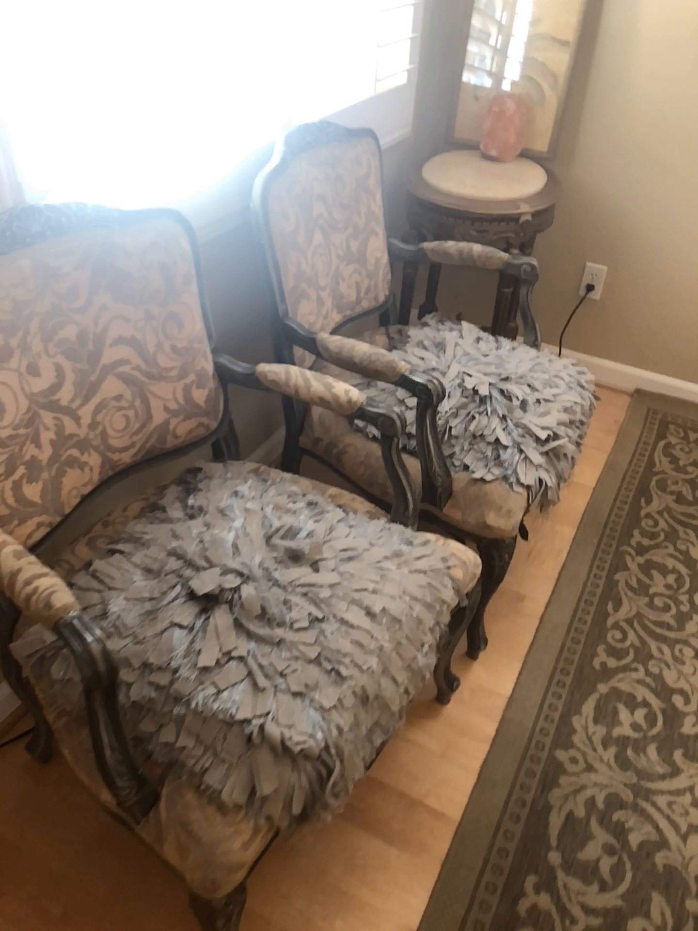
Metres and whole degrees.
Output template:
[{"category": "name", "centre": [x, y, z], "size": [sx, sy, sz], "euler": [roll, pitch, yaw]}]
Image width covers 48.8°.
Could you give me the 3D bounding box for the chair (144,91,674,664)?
[{"category": "chair", "centre": [0.141, -0.251, 1.715], "size": [0.780, 0.852, 0.747], "euler": [19, 39, 19]}]

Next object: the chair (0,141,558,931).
[{"category": "chair", "centre": [-0.200, 0.141, 1.149], "size": [0.600, 0.952, 0.696], "euler": [24, 41, 25]}]
